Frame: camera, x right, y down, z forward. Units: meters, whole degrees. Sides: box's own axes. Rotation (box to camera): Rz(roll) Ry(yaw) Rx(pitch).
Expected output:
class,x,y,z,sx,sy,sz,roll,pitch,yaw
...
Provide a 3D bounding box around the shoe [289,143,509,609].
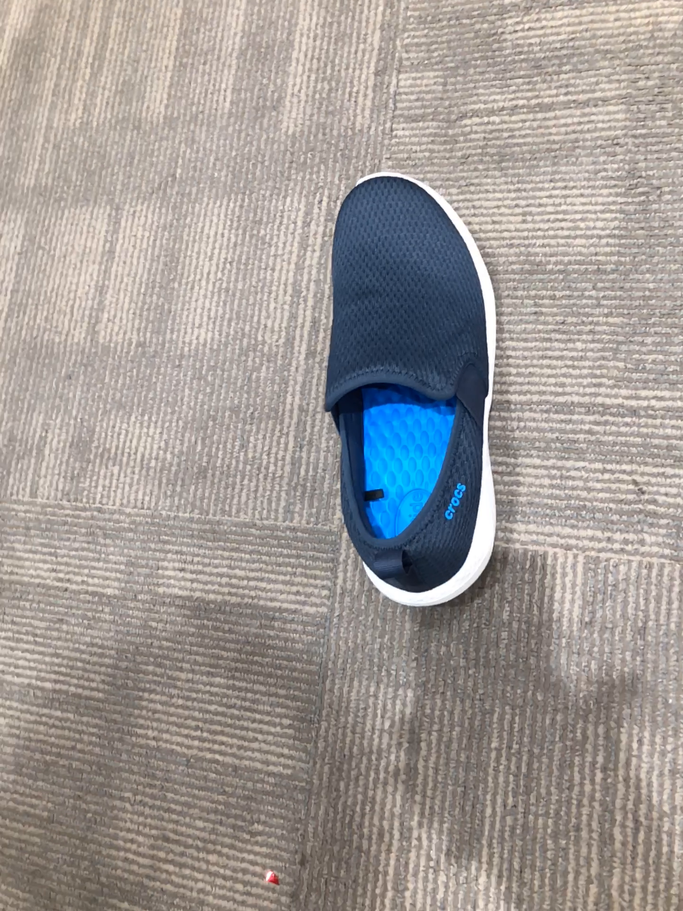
class,x,y,z,sx,sy,sz,roll,pitch,yaw
shoe,0.041,-0.039,0.493,0.110,0.120,0.270,-4,77,17
